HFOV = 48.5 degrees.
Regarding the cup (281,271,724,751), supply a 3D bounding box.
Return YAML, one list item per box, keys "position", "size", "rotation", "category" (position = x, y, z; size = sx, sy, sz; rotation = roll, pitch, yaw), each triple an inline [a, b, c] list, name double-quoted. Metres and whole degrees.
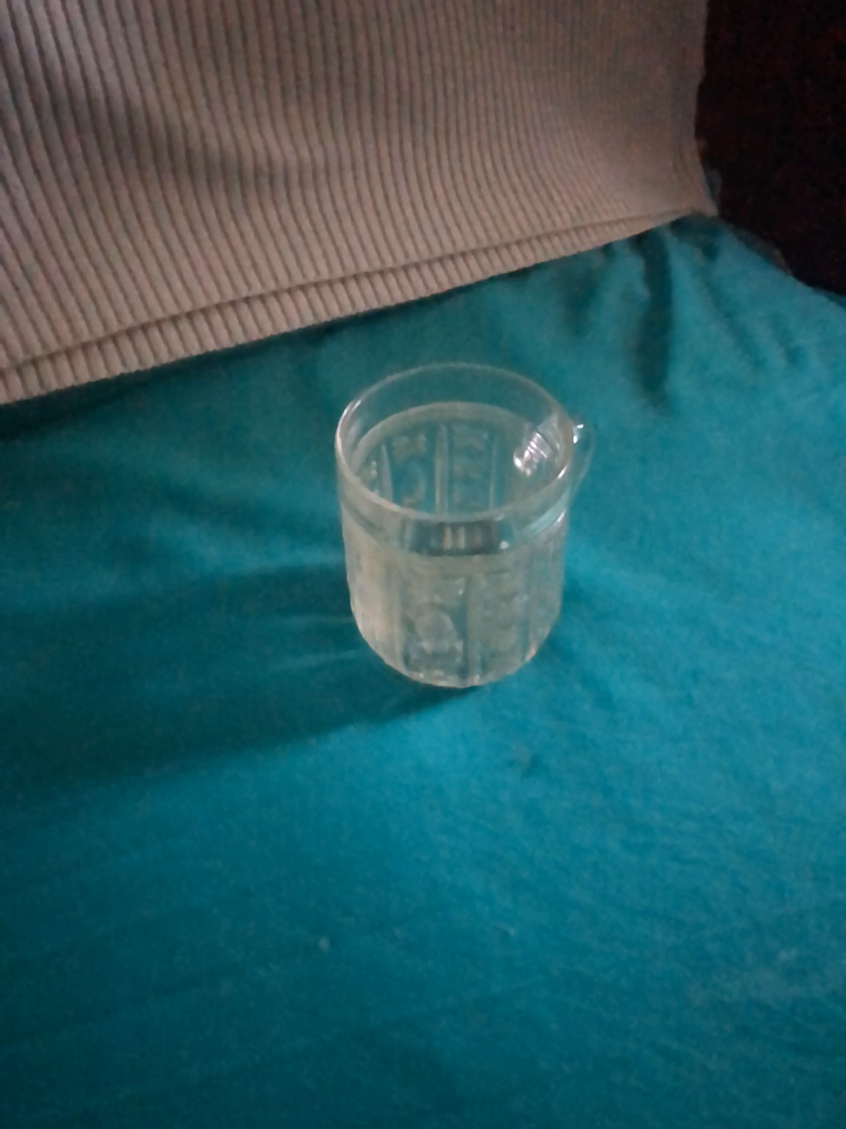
- position: [0.022, -0.018, 0.274]
  size: [0.064, 0.076, 0.104]
  rotation: [36, 58, 23]
  category: "cup"
